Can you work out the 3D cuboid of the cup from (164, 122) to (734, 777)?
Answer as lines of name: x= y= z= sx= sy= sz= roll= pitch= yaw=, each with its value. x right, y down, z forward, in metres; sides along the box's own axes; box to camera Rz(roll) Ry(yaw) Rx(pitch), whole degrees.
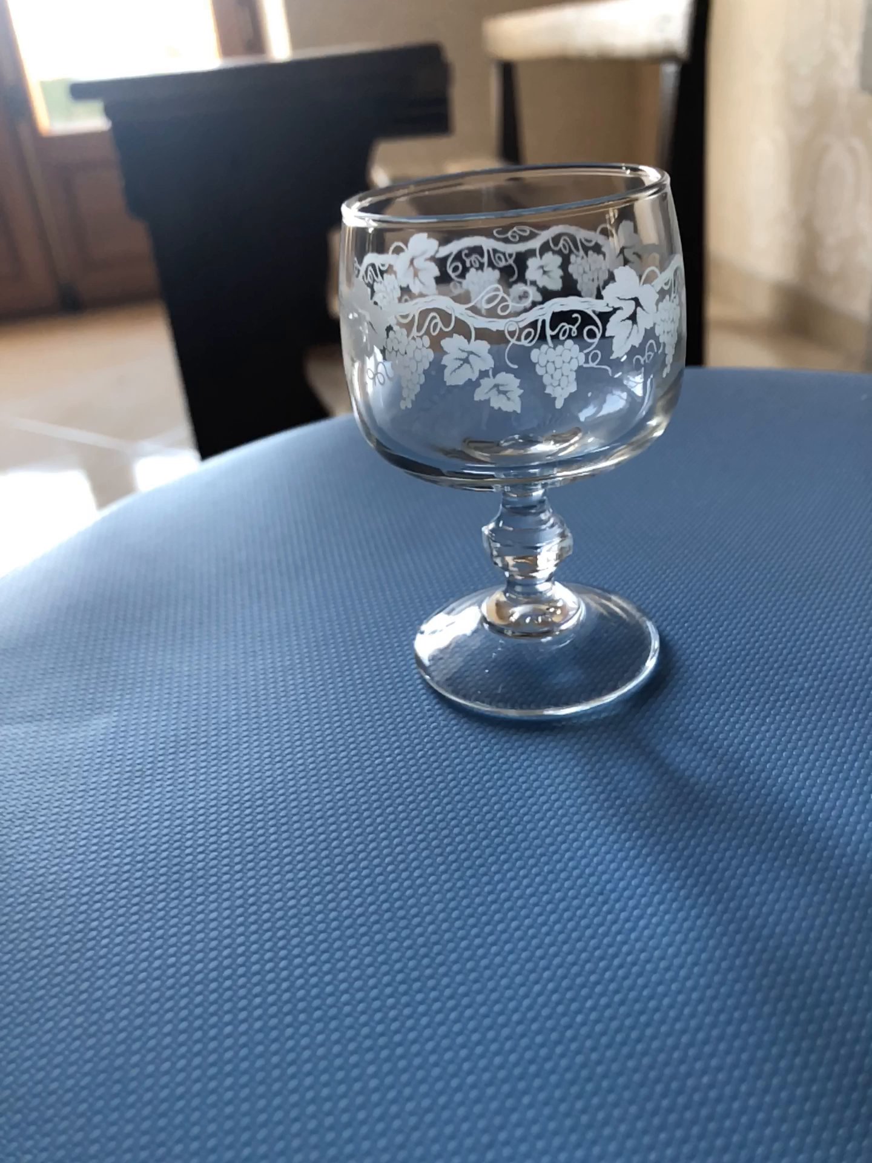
cup: x=0.008 y=-0.026 z=0.160 sx=0.060 sy=0.080 sz=0.060 roll=-5 pitch=28 yaw=3
